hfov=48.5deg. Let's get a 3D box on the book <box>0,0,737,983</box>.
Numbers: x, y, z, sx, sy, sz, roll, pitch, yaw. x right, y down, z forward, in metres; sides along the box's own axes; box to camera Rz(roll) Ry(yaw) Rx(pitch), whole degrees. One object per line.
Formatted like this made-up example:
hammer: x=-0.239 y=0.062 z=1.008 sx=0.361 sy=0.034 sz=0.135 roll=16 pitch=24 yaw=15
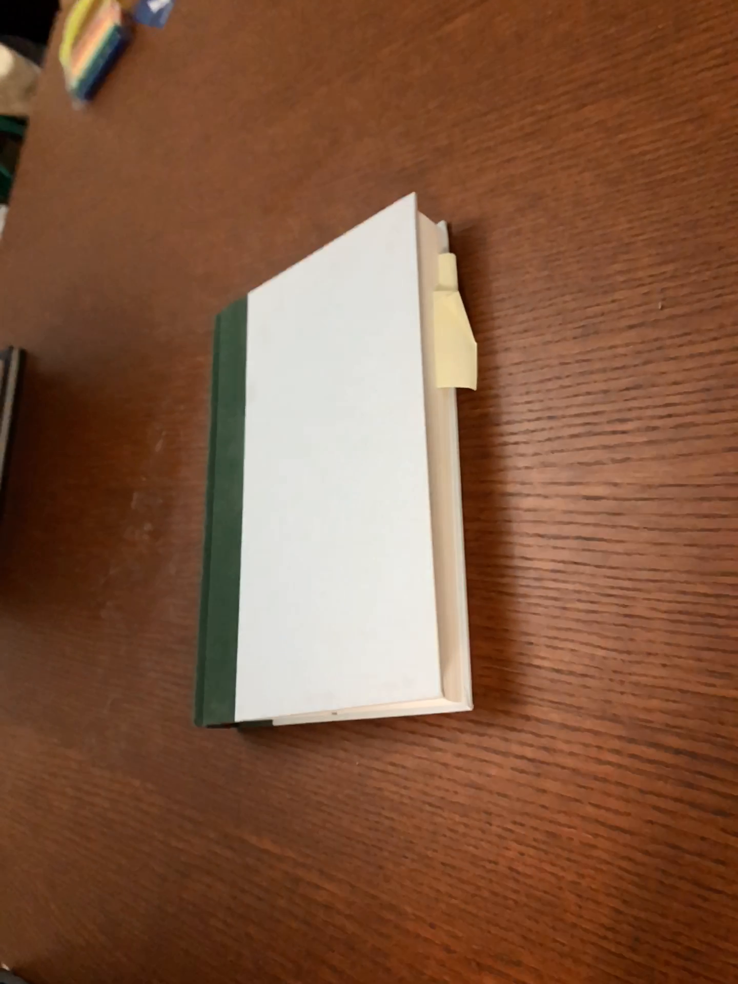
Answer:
book: x=-0.250 y=0.164 z=0.037 sx=1.001 sy=0.995 sz=1.004 roll=-38 pitch=53 yaw=30
